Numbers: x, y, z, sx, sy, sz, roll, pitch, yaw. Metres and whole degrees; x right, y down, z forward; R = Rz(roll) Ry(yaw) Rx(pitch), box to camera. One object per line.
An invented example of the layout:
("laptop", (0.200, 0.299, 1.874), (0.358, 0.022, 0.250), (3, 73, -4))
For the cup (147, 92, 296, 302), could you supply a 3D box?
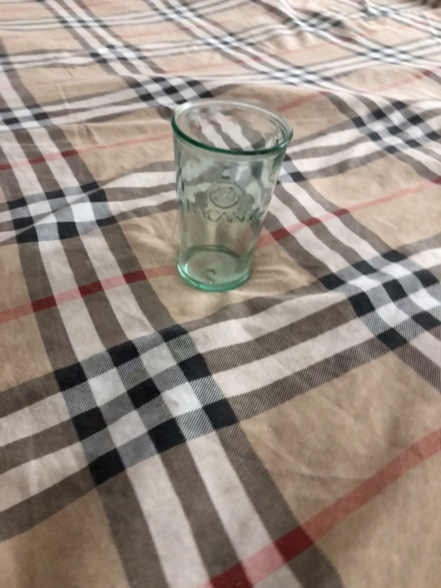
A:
("cup", (0.002, -0.069, 0.347), (0.085, 0.112, 0.082), (3, 40, -2))
